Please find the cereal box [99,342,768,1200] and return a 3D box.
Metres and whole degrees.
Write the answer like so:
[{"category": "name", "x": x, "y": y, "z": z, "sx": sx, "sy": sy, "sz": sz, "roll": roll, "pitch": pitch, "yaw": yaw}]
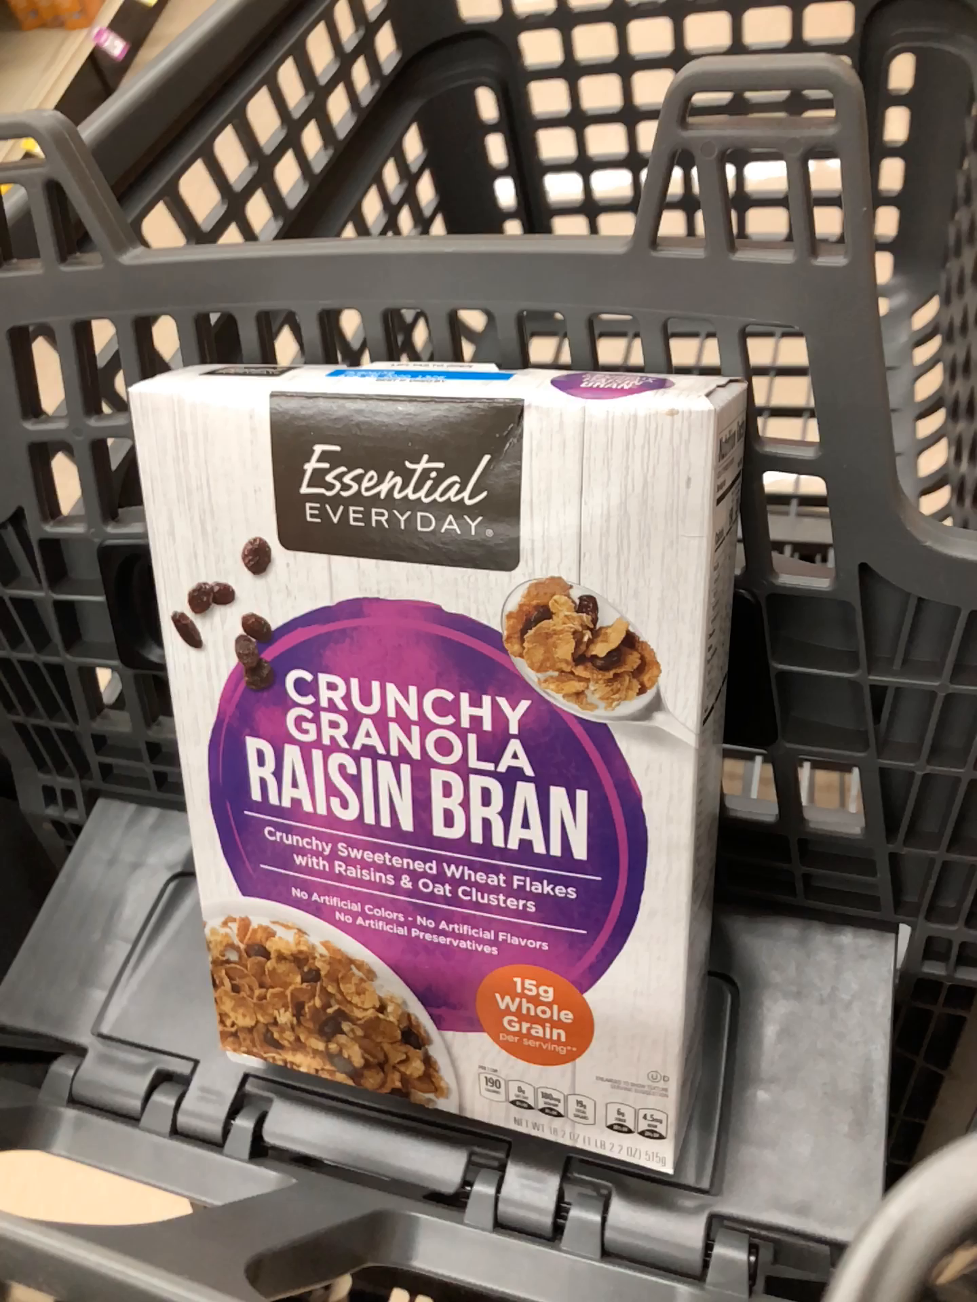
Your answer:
[{"category": "cereal box", "x": -0.015, "y": 0.037, "z": 0.391, "sx": 0.200, "sy": 0.280, "sz": 0.070, "roll": 6, "pitch": 22, "yaw": 20}]
